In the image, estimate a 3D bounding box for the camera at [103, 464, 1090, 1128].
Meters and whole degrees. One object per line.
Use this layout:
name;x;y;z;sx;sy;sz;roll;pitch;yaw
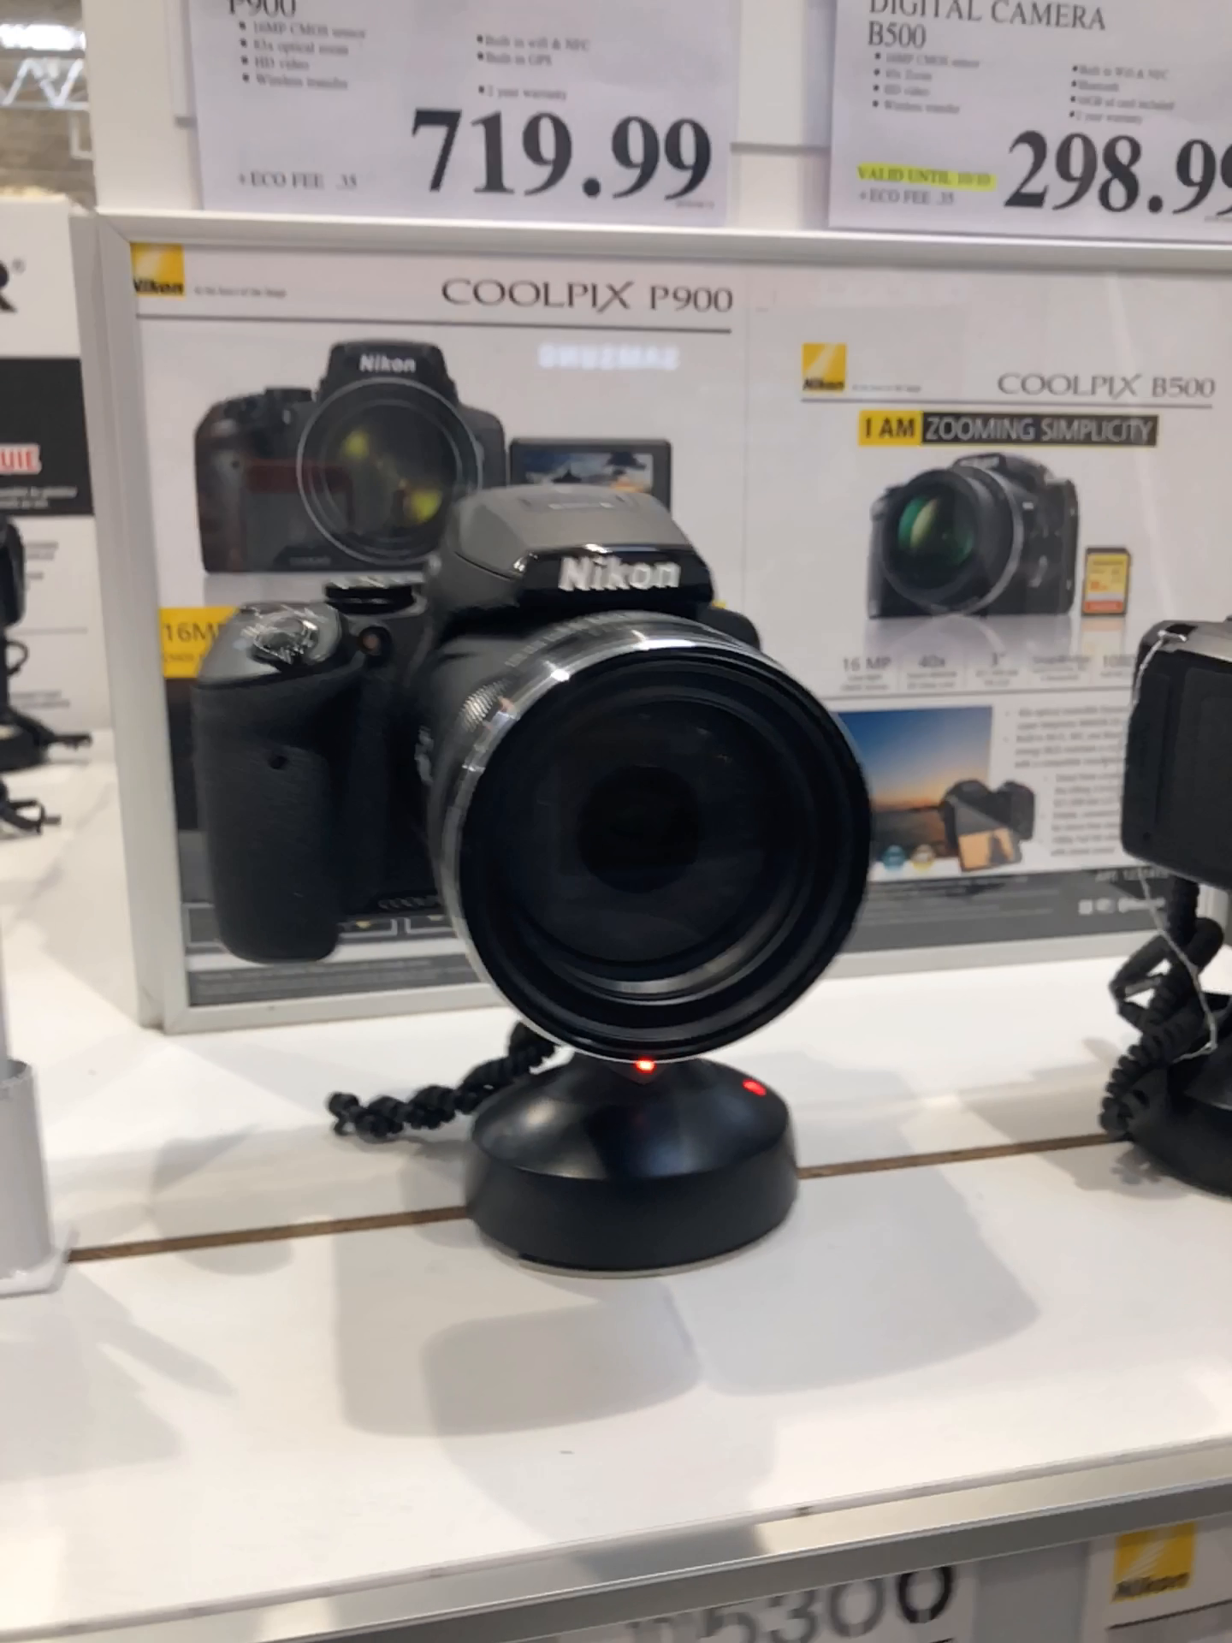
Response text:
camera;-0.011;-0.022;0.282;0.150;0.100;0.141;-3;14;-11
